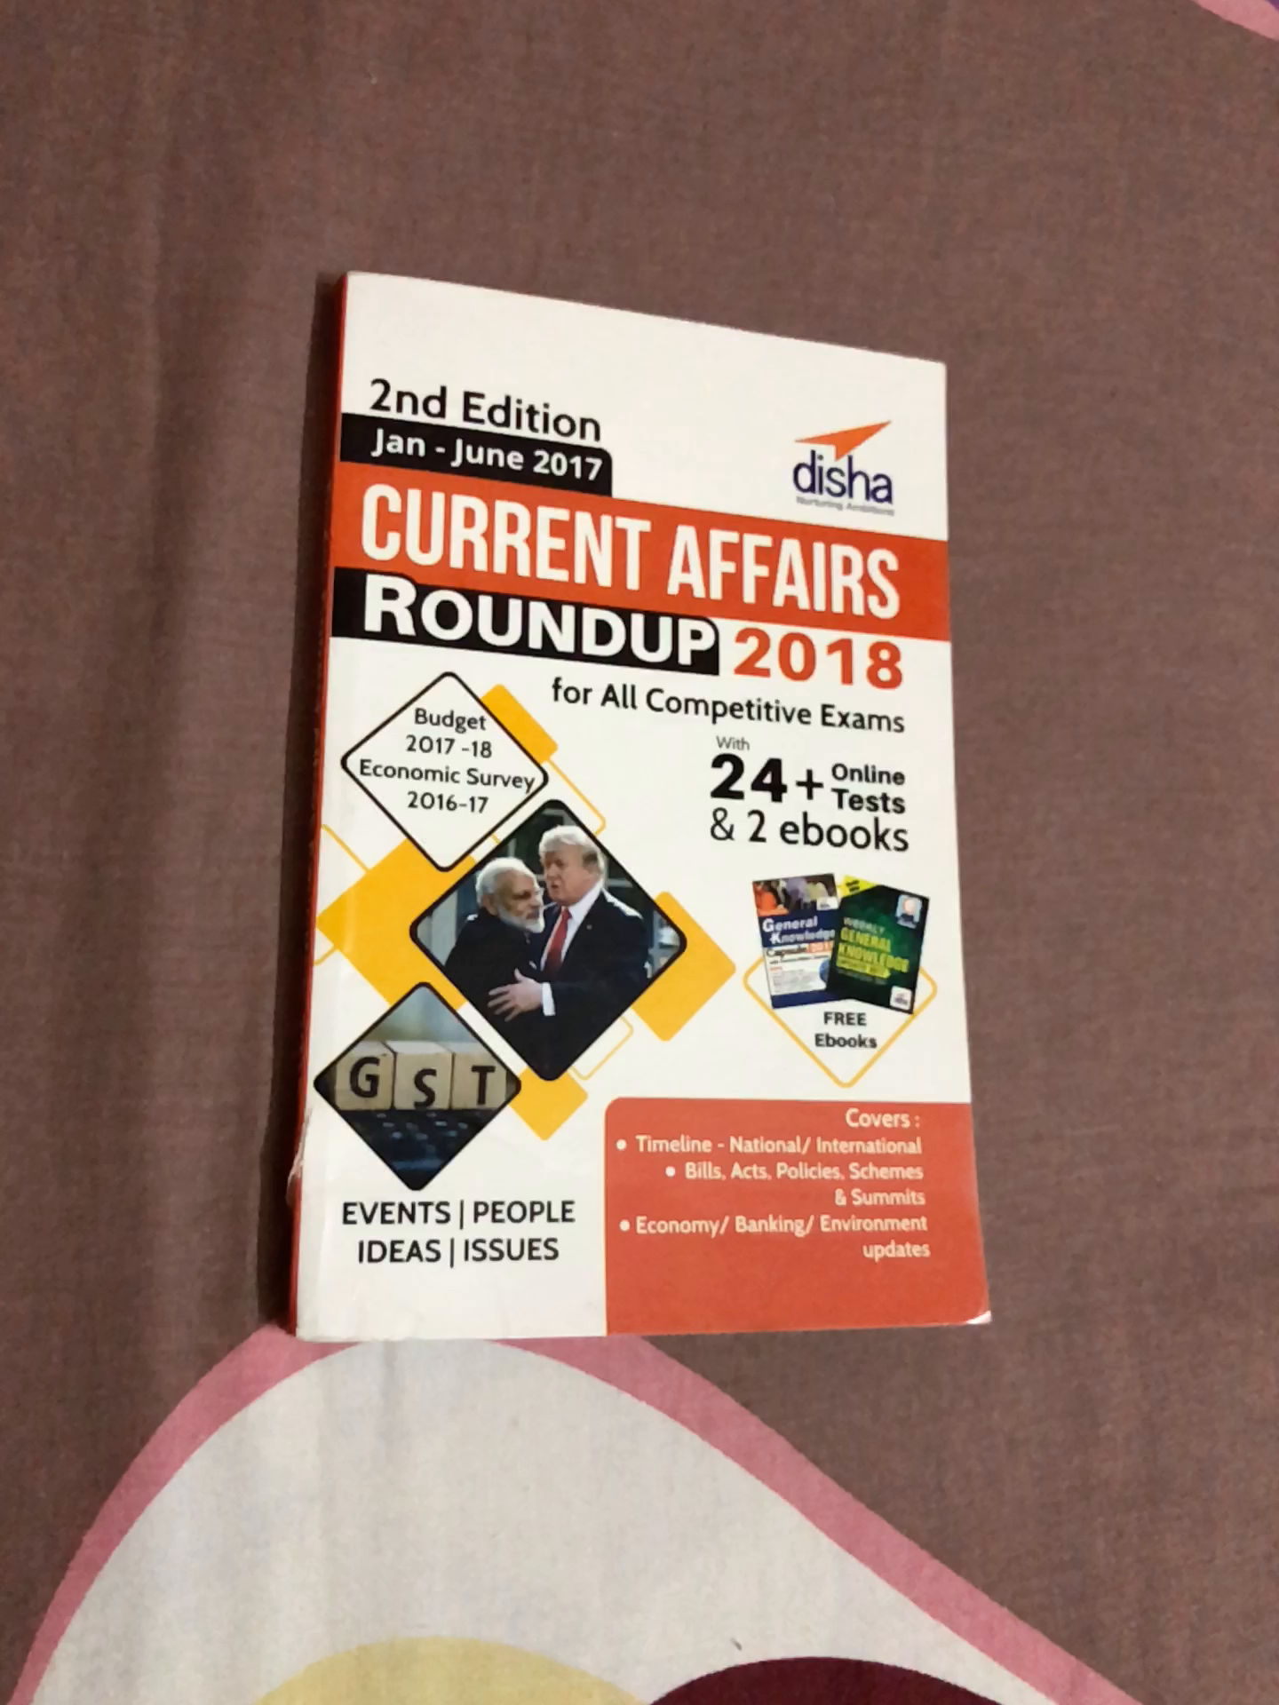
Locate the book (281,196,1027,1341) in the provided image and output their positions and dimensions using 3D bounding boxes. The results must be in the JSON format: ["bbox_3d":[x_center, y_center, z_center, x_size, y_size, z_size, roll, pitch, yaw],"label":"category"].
[{"bbox_3d":[0.003,-0.017,0.302,0.140,0.040,0.220,4,78,-15],"label":"book"}]
